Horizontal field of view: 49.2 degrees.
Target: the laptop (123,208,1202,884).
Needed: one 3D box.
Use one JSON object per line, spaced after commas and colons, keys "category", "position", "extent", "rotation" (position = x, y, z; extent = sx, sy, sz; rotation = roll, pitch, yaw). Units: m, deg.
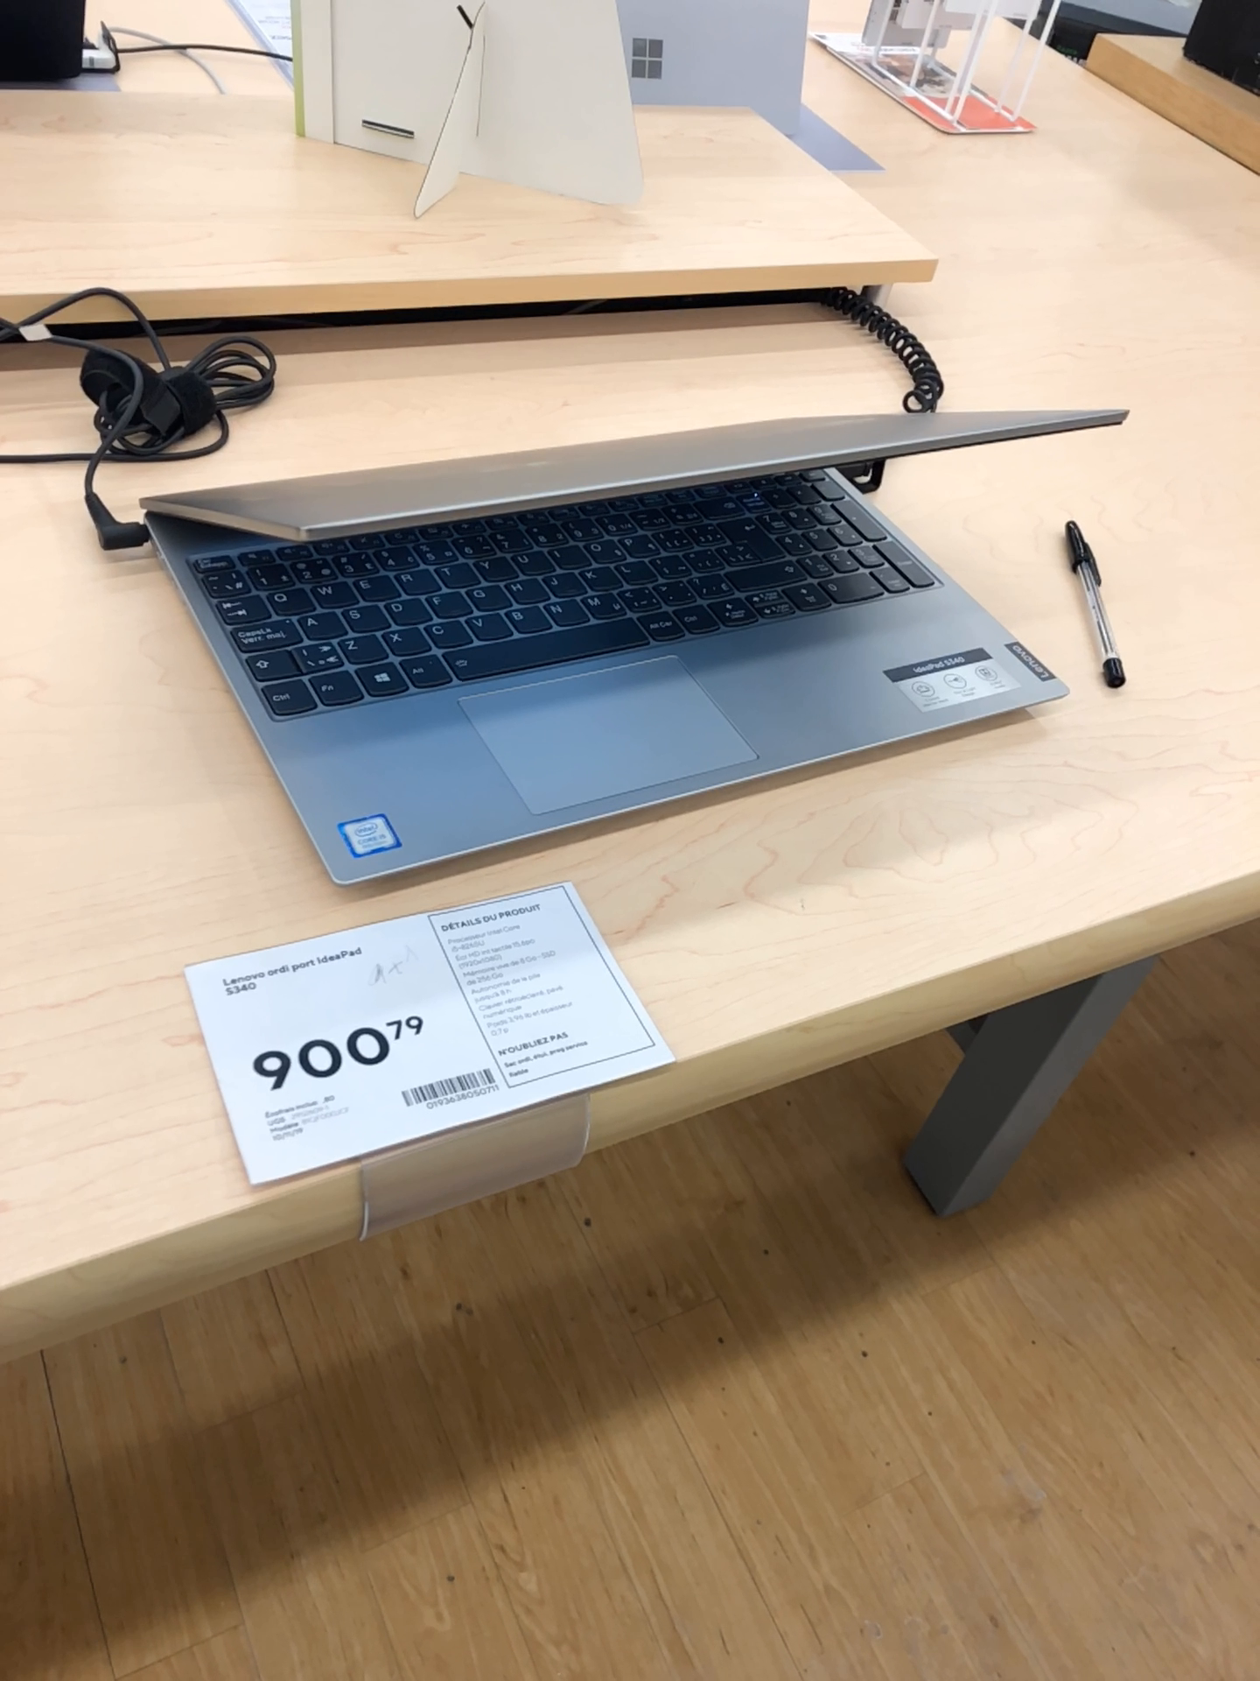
{"category": "laptop", "position": [0.007, -0.148, 0.573], "extent": [0.352, 0.122, 0.234], "rotation": [-15, 51, -27]}
